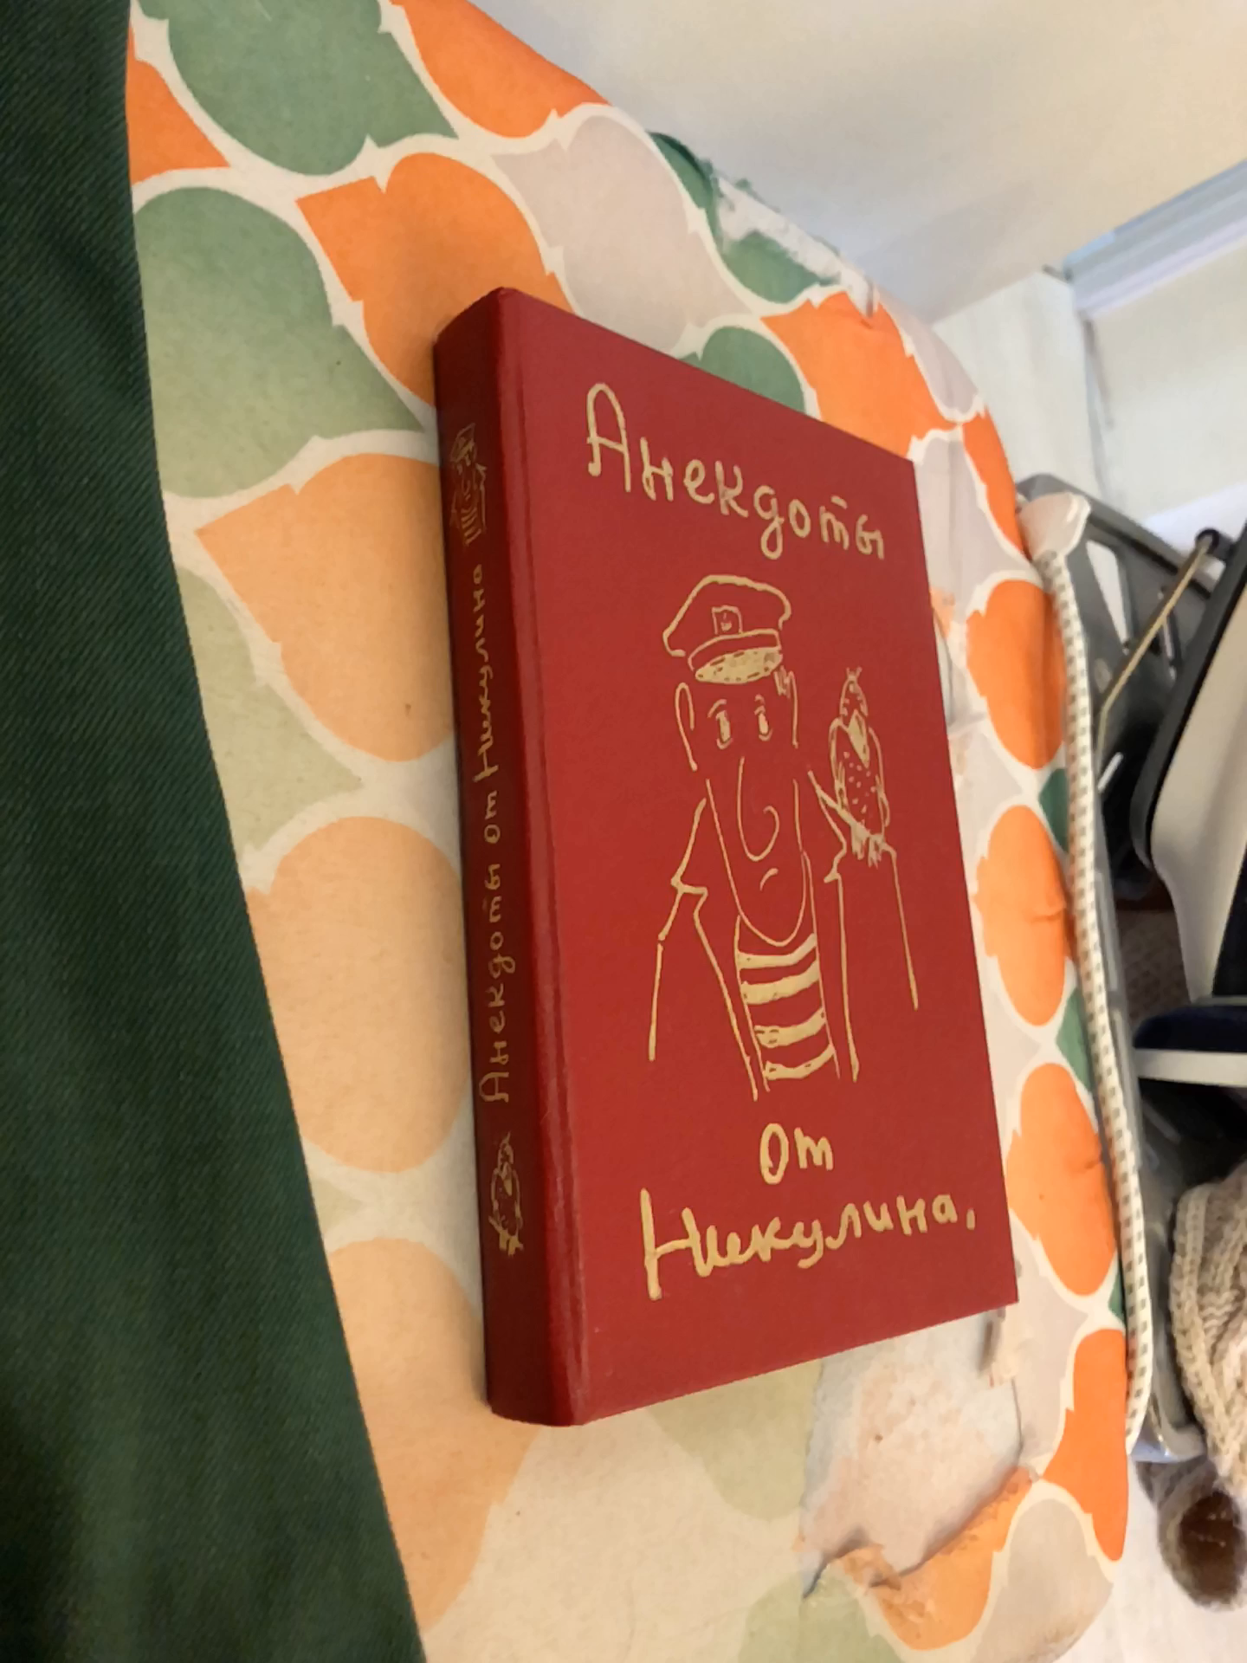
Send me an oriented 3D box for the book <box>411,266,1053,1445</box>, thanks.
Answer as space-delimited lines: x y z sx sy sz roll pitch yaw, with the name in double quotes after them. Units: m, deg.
0.027 0.003 0.296 0.141 0.030 0.207 6 75 -43 "book"
